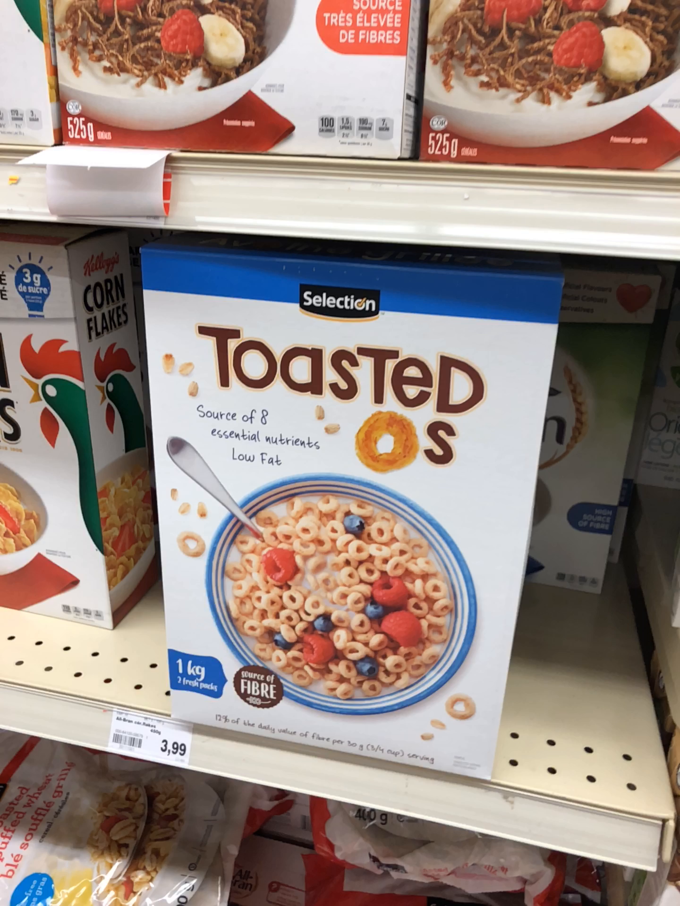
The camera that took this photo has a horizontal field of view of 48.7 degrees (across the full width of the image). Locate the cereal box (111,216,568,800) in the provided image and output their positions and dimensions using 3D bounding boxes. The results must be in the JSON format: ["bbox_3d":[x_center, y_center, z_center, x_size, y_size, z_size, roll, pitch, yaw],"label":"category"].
[{"bbox_3d":[0.004,0.025,0.520,0.240,0.338,0.161,6,22,11],"label":"cereal box"}]
